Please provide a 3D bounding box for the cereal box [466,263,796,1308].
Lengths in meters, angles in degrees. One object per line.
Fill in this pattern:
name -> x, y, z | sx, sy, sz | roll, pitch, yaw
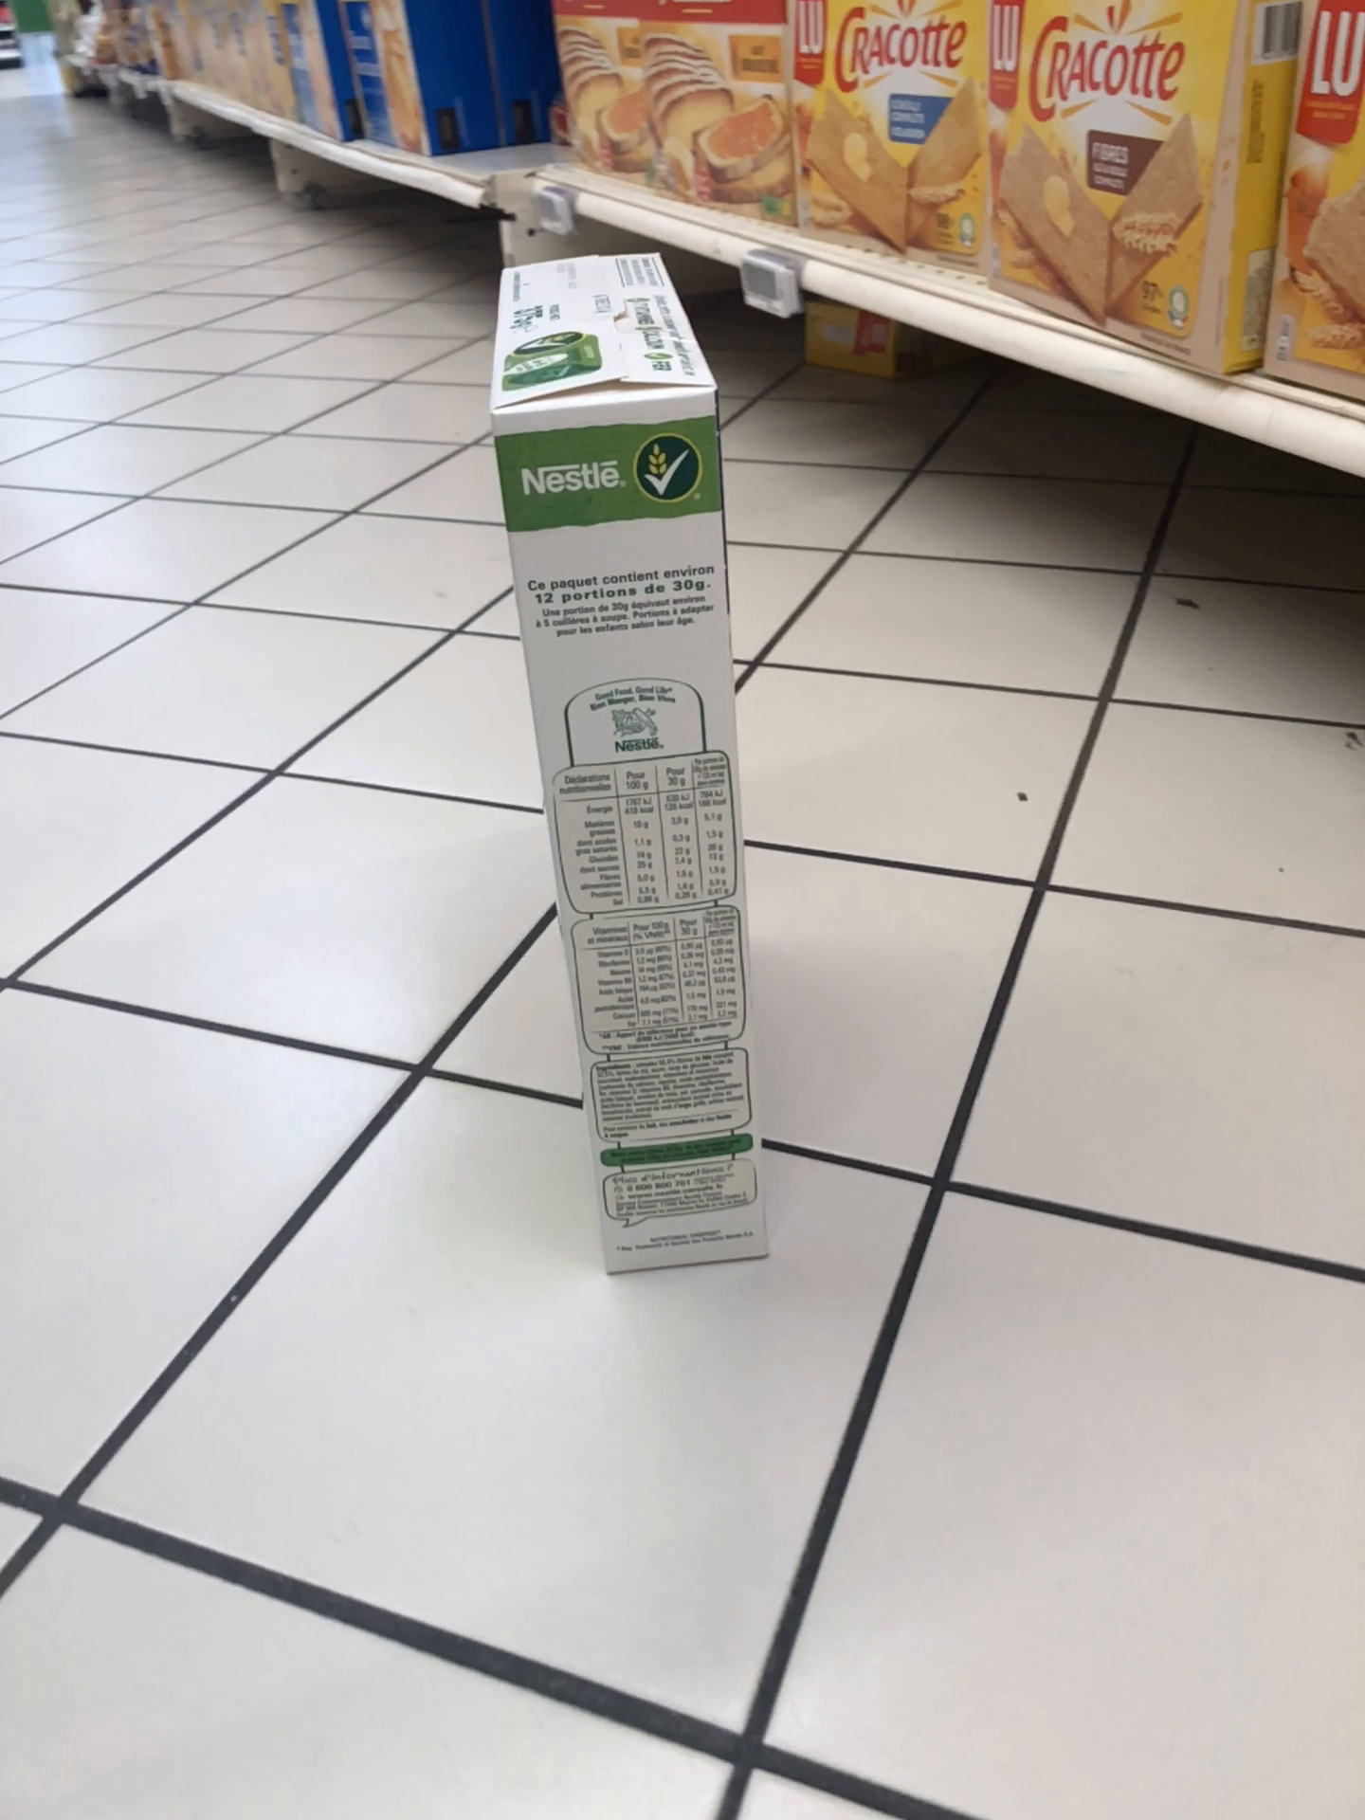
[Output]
cereal box -> -0.016, -0.046, 0.483 | 0.070, 0.268, 0.201 | -5, 32, -3
